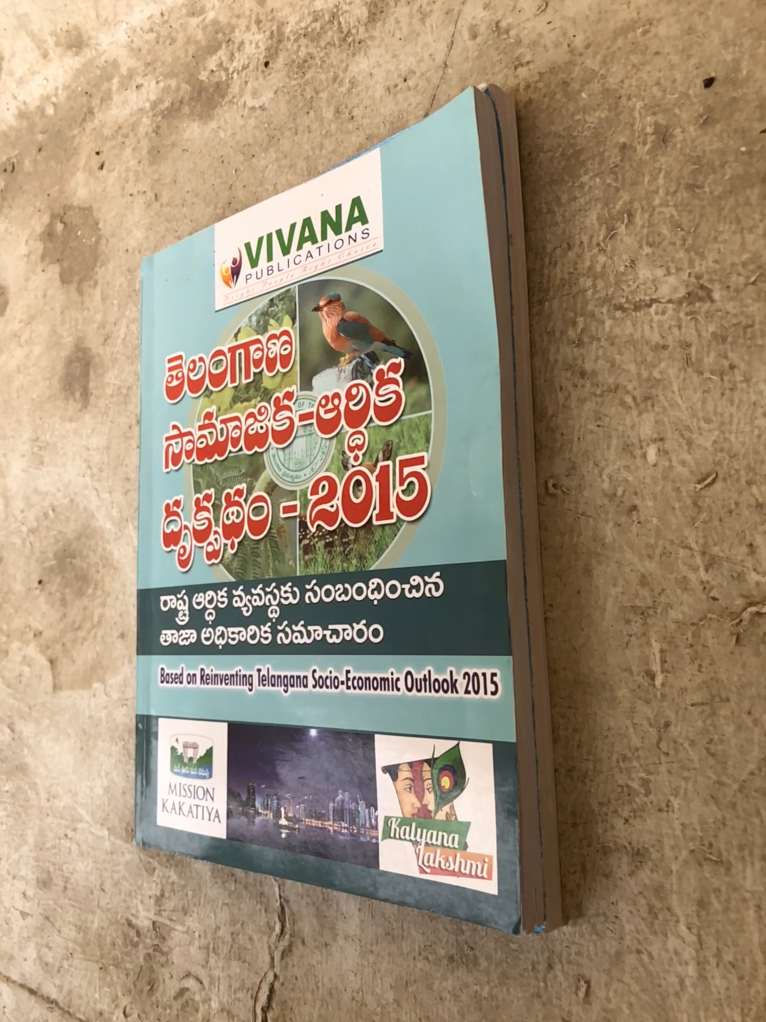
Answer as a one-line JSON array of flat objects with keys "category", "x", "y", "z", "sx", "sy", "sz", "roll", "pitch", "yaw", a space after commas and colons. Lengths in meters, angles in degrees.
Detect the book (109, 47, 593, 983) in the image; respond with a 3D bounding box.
[{"category": "book", "x": -0.029, "y": 0.002, "z": 0.318, "sx": 0.201, "sy": 0.030, "sz": 0.270, "roll": -7, "pitch": 80, "yaw": 39}]
